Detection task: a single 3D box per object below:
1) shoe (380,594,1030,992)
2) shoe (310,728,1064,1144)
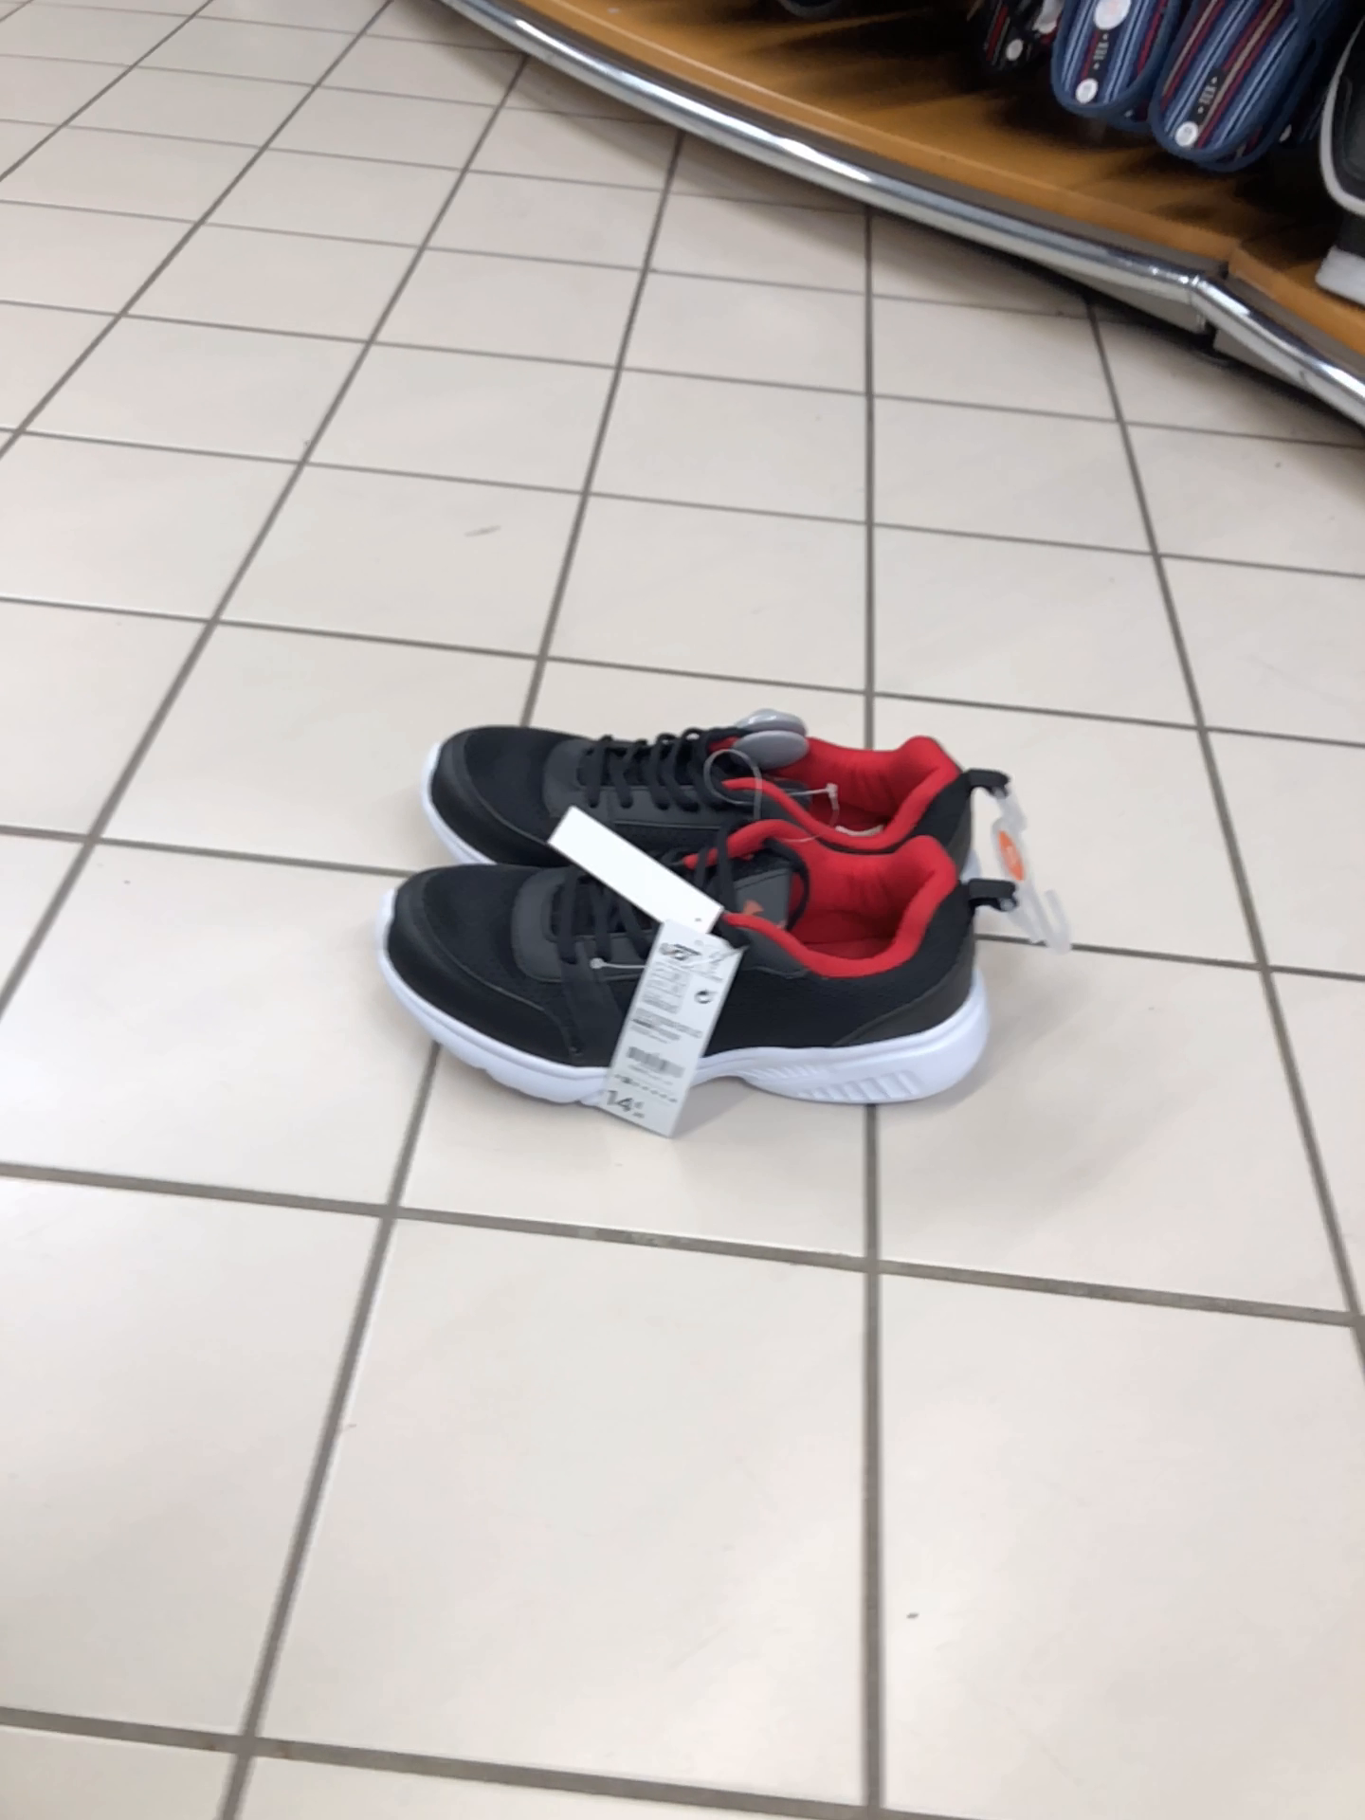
[{"bbox_3d":[0.010,-0.057,0.736,0.285,0.129,0.101,6,44,1],"label":"shoe"},{"bbox_3d":[0.000,0.013,0.667,0.295,0.129,0.101,4,44,-1],"label":"shoe"}]
